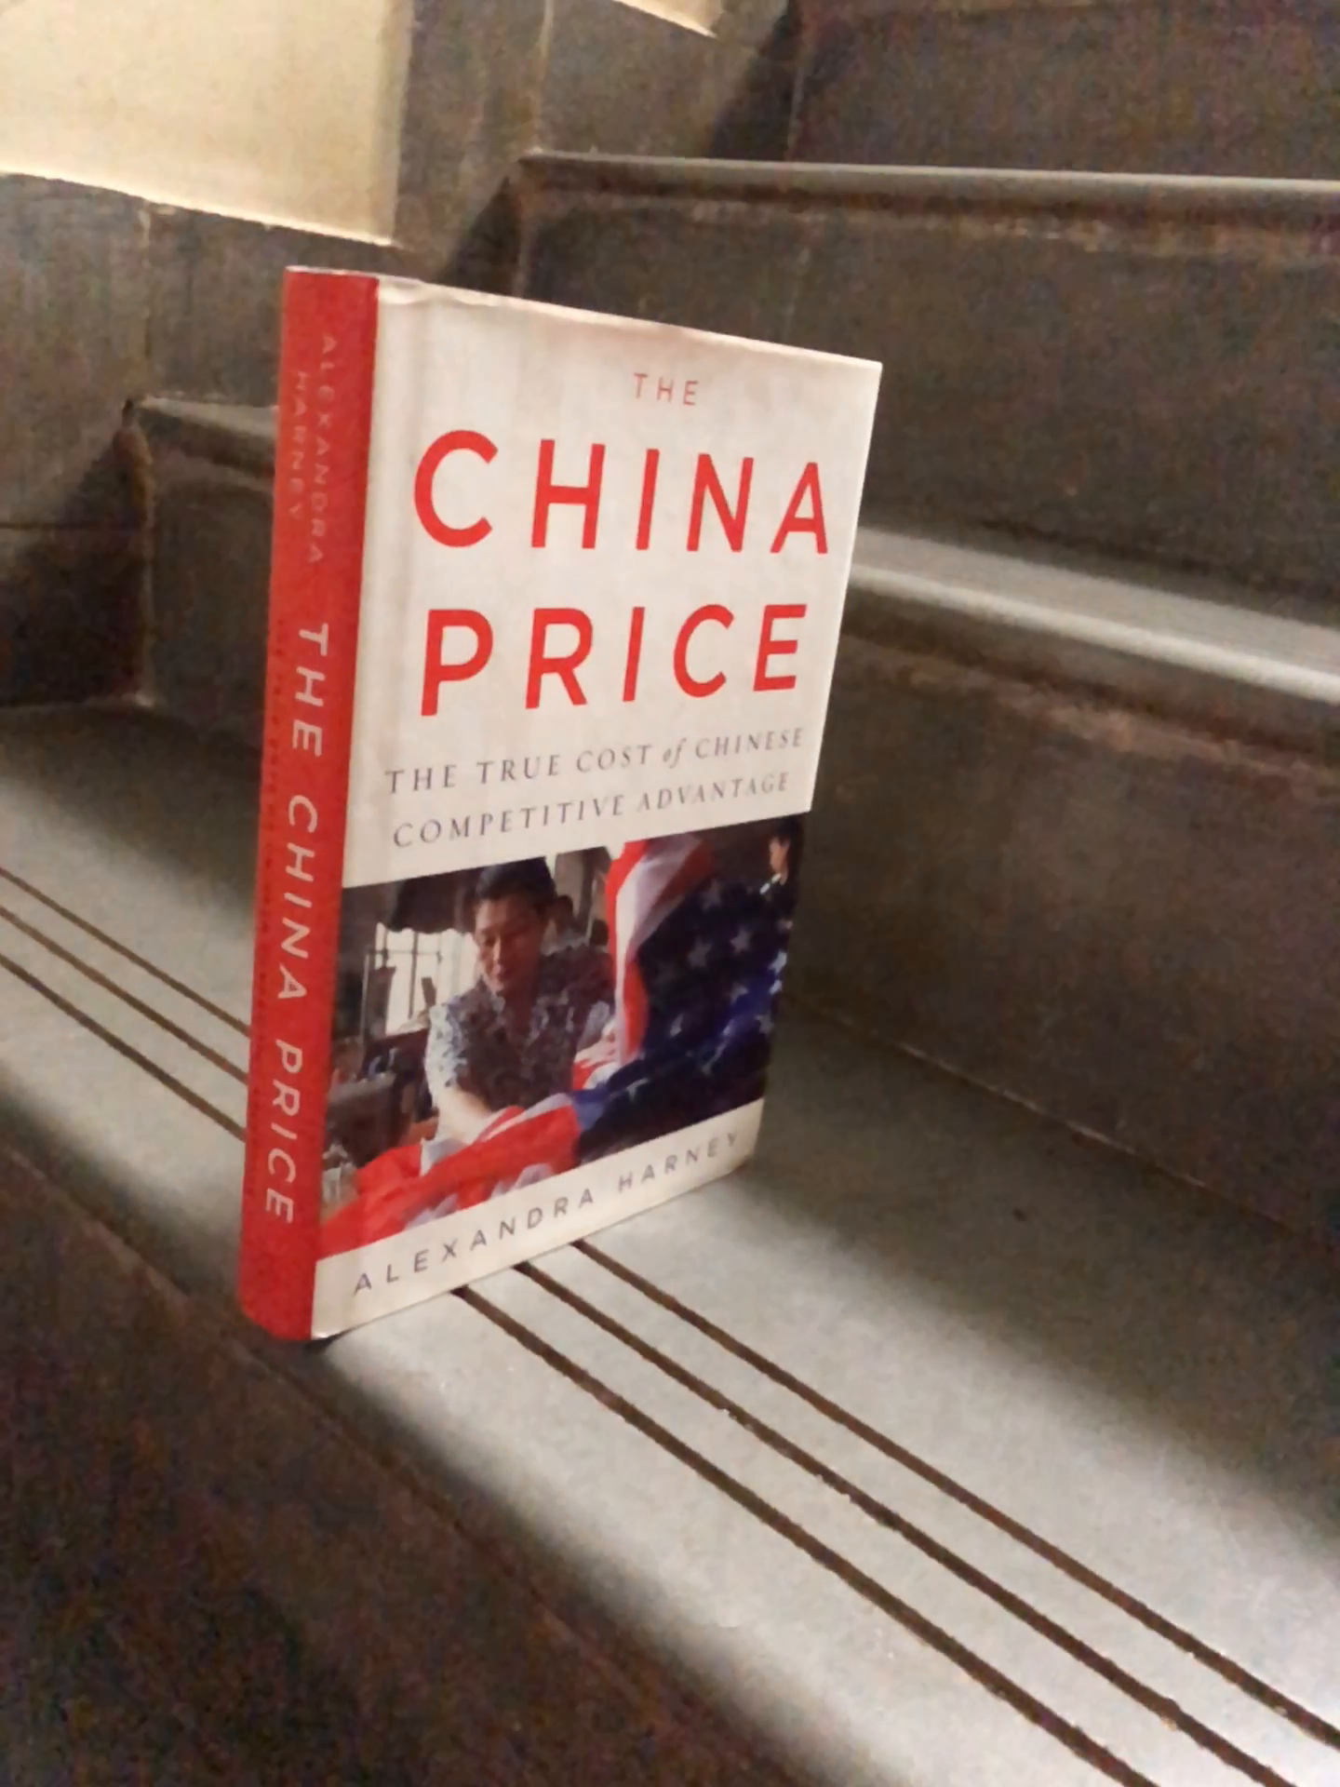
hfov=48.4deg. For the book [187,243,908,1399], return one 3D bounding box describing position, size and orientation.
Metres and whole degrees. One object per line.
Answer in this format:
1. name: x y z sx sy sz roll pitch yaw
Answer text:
1. book: -0.027 -0.020 0.374 0.040 0.239 0.180 22 24 39
